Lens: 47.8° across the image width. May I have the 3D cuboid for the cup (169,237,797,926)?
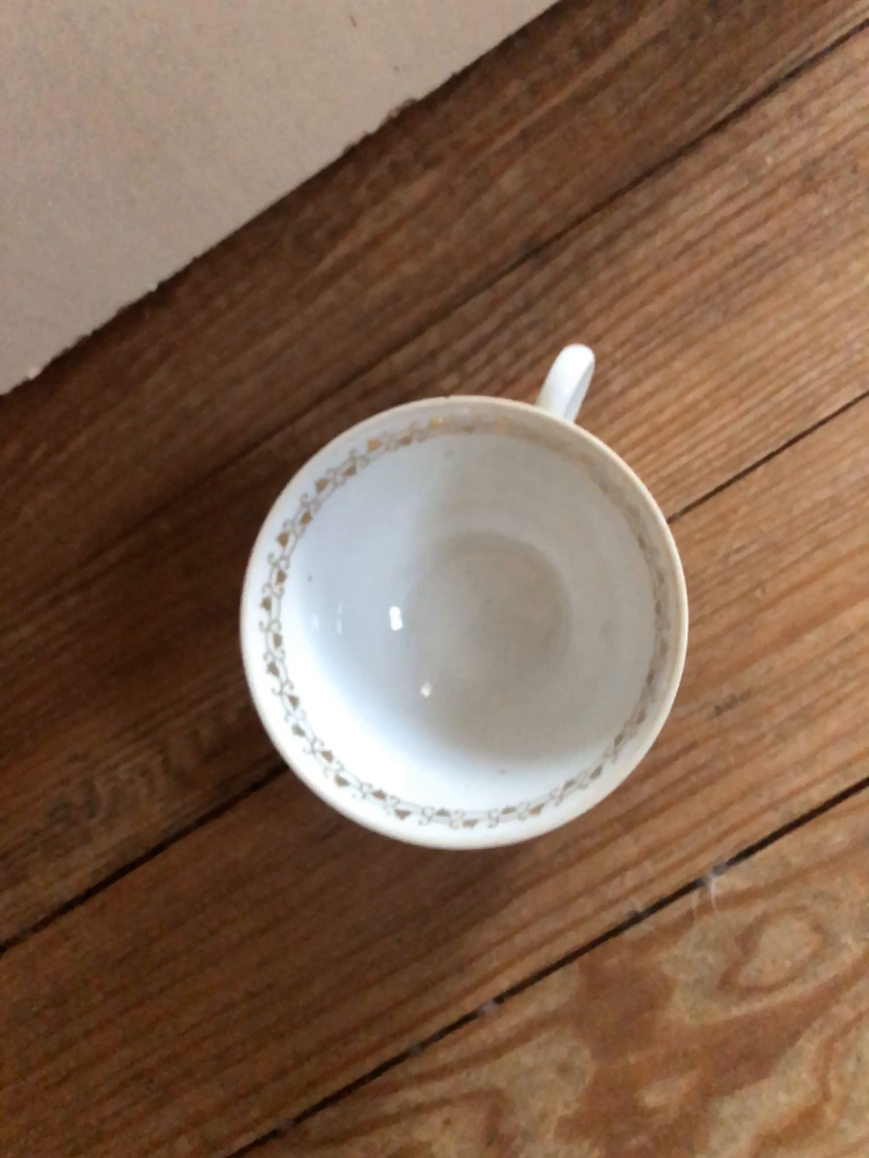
[{"bbox_3d":[0.010,-0.001,0.194,0.080,0.040,0.100,23,90,10],"label":"cup"}]
